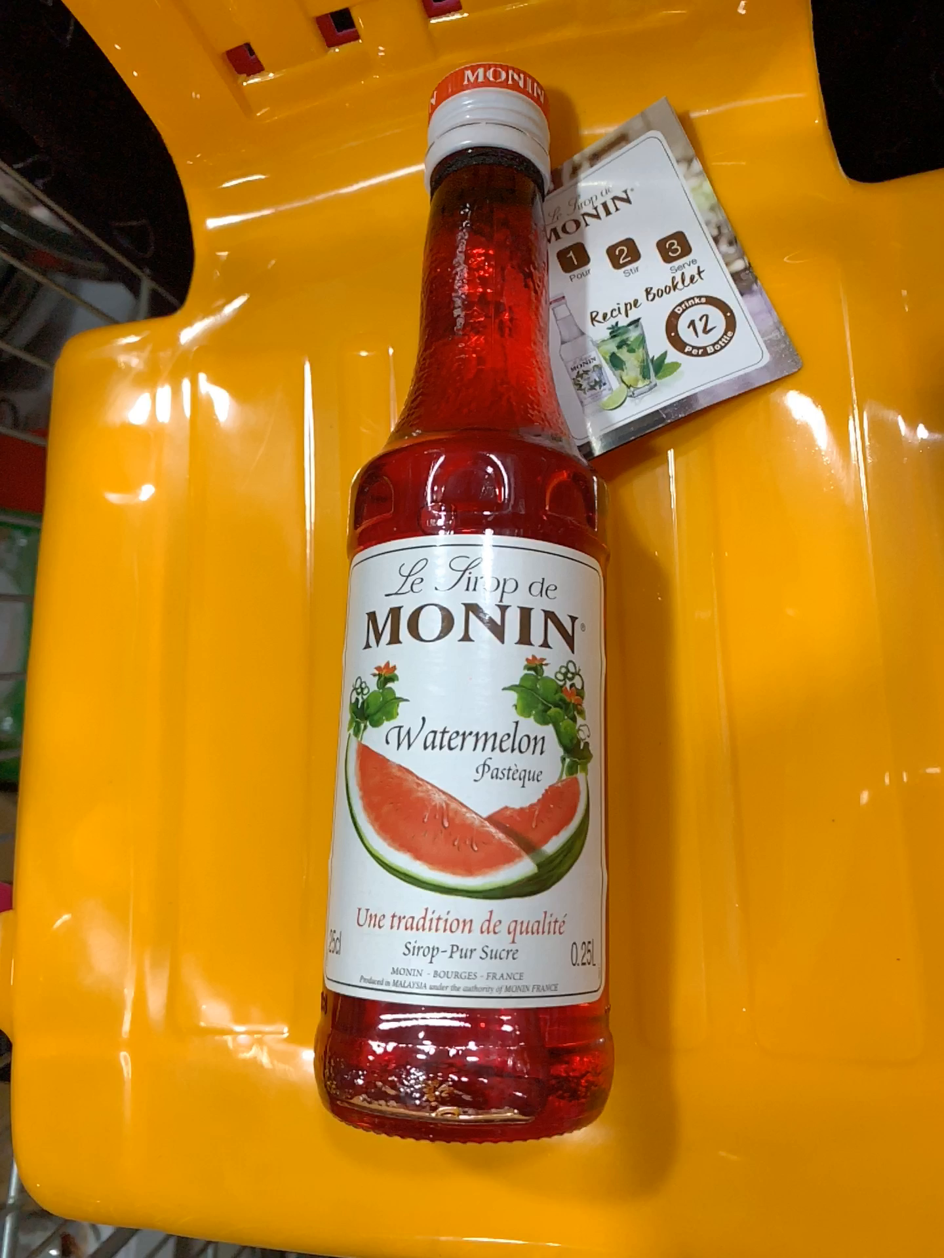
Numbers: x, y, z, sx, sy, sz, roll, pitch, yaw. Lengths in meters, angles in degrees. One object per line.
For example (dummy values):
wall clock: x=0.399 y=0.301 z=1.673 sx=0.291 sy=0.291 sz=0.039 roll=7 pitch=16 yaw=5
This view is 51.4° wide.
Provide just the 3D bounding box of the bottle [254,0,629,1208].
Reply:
bottle: x=0.000 y=-0.018 z=0.202 sx=0.060 sy=0.050 sz=0.230 roll=1 pitch=79 yaw=6
